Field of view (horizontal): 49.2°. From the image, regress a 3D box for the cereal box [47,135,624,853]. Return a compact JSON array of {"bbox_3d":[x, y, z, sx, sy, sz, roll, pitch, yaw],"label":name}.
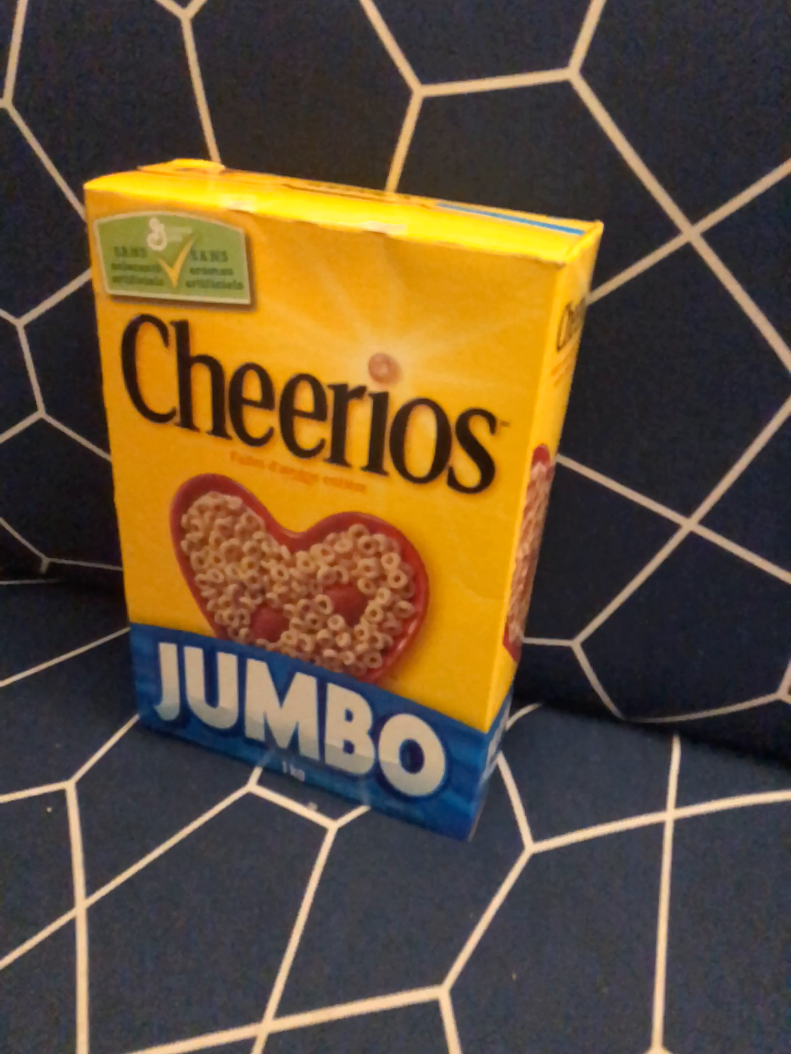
[{"bbox_3d":[-0.034,-0.012,0.406,0.210,0.288,0.080,15,30,16],"label":"cereal box"}]
